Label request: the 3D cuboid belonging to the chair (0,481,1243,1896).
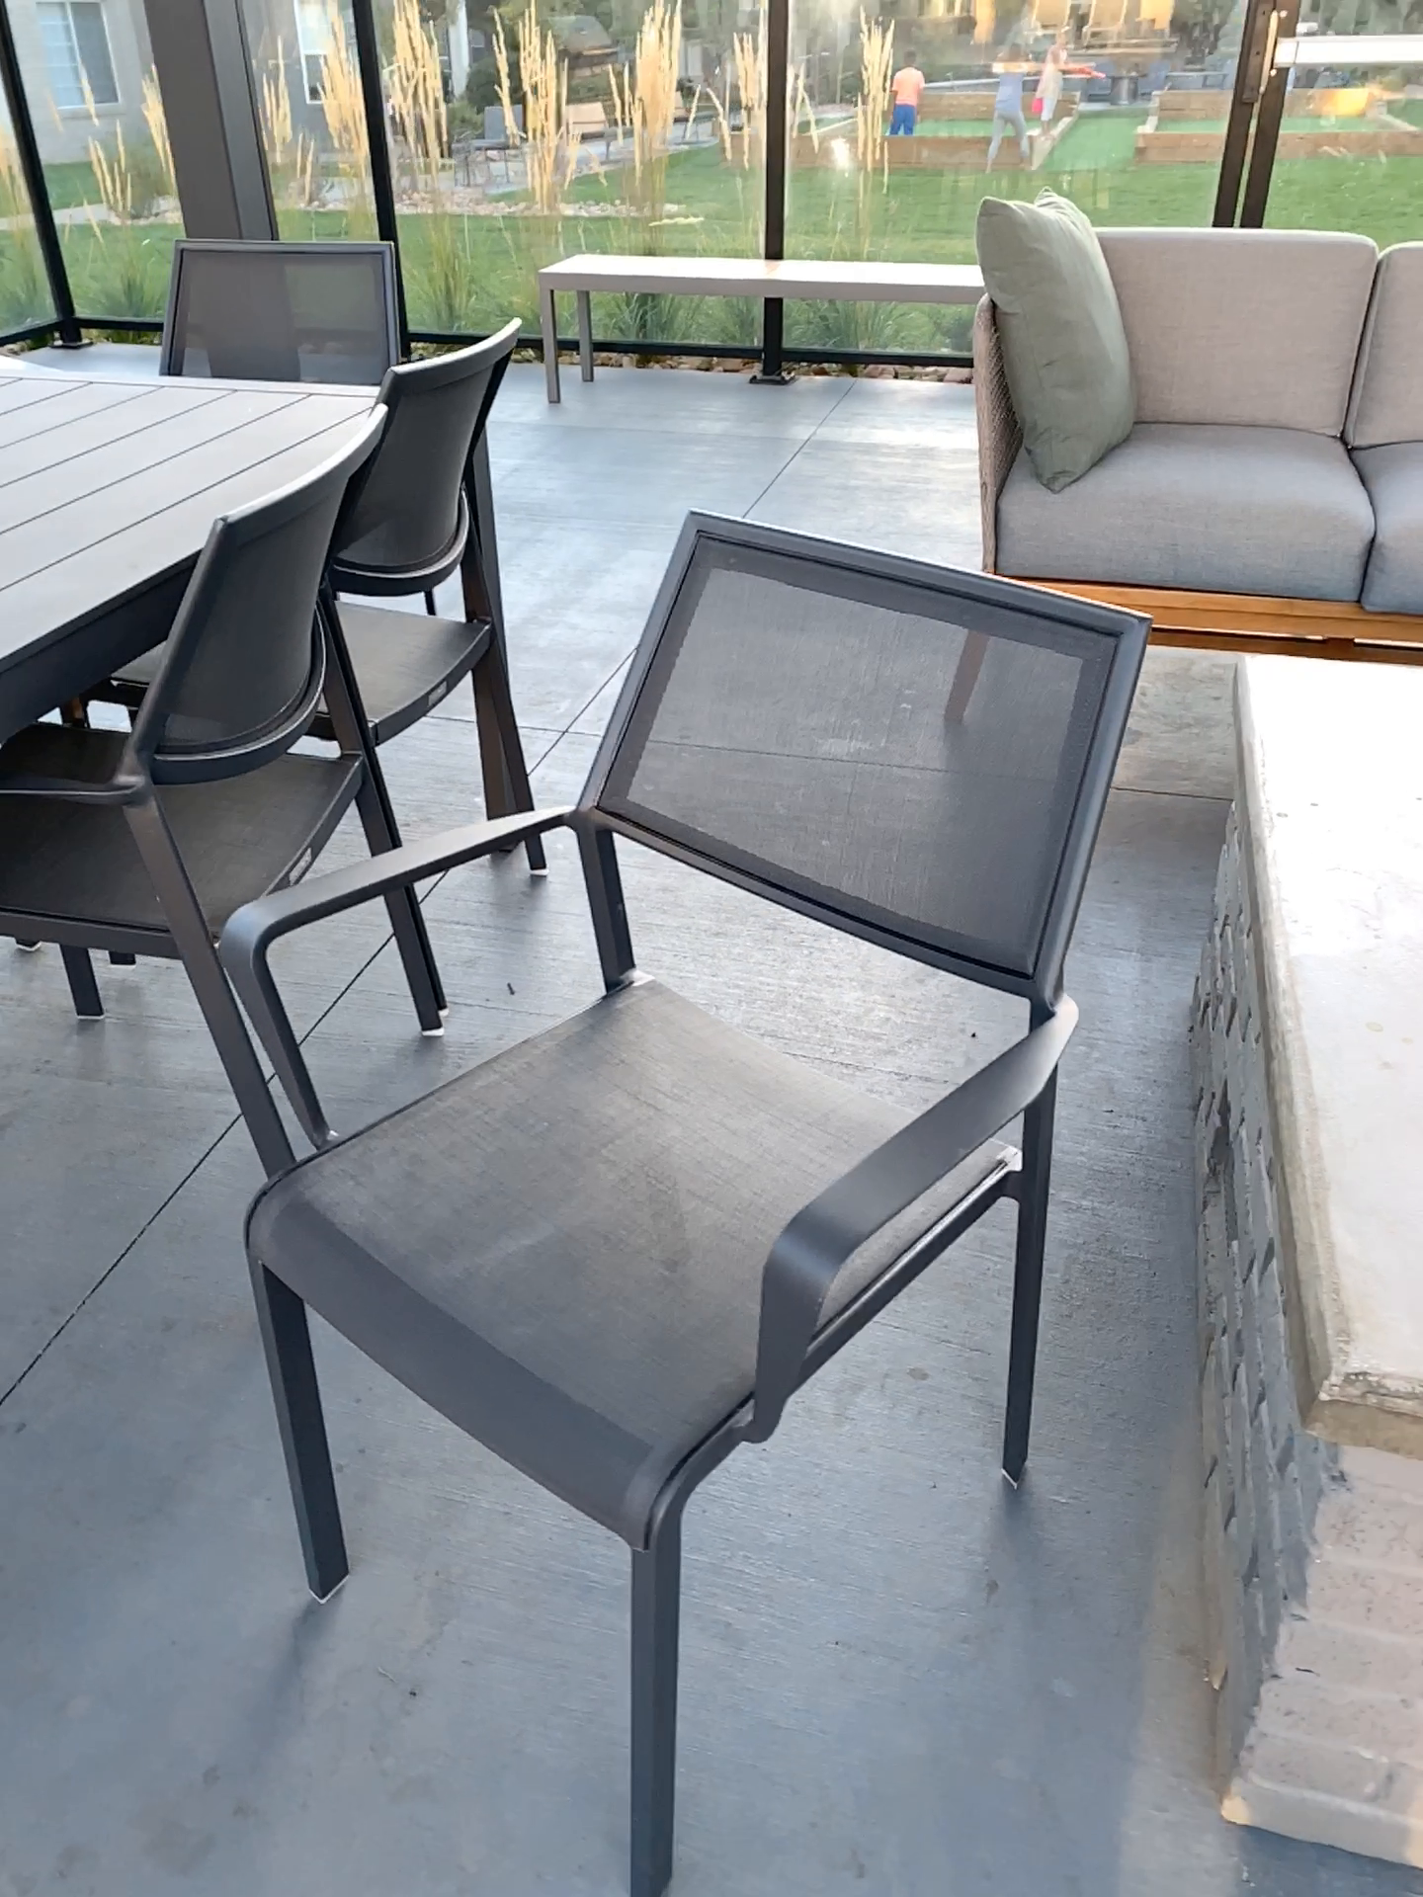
[{"bbox_3d":[-0.033,0.153,1.117,0.511,0.806,0.612,23,39,34],"label":"chair"}]
